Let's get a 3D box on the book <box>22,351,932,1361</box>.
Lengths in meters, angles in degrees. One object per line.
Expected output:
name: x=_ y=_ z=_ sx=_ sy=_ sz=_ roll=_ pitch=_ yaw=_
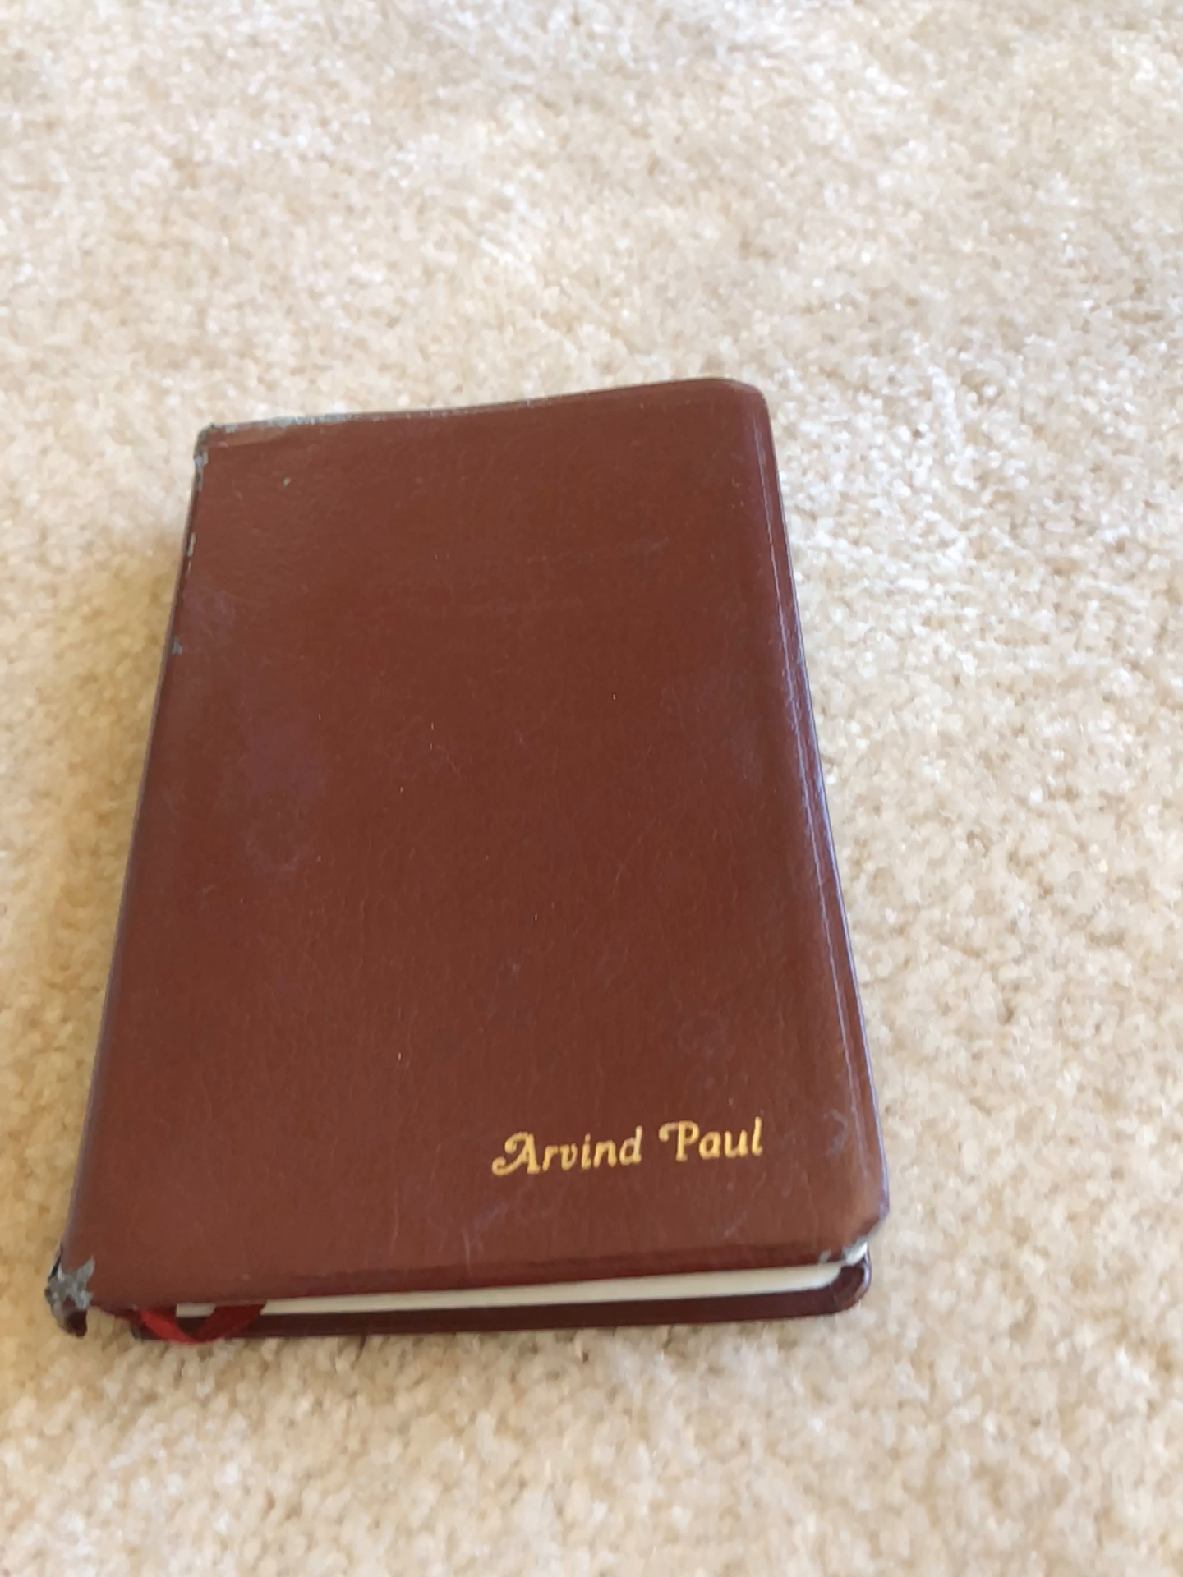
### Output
book: x=-0.016 y=0.003 z=0.216 sx=0.110 sy=0.040 sz=0.157 roll=-5 pitch=58 yaw=4
